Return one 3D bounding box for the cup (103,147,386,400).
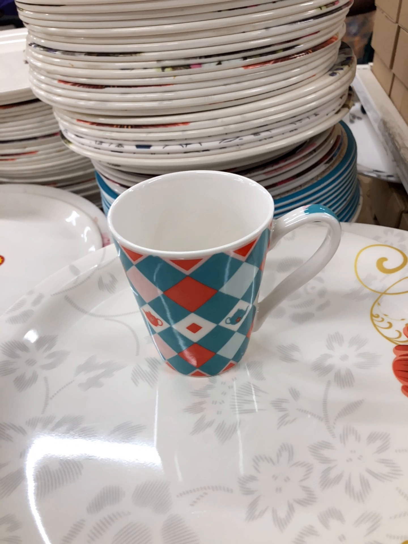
[{"bbox_3d":[0.017,-0.002,0.268,0.130,0.099,0.080,-10,39,-7],"label":"cup"}]
